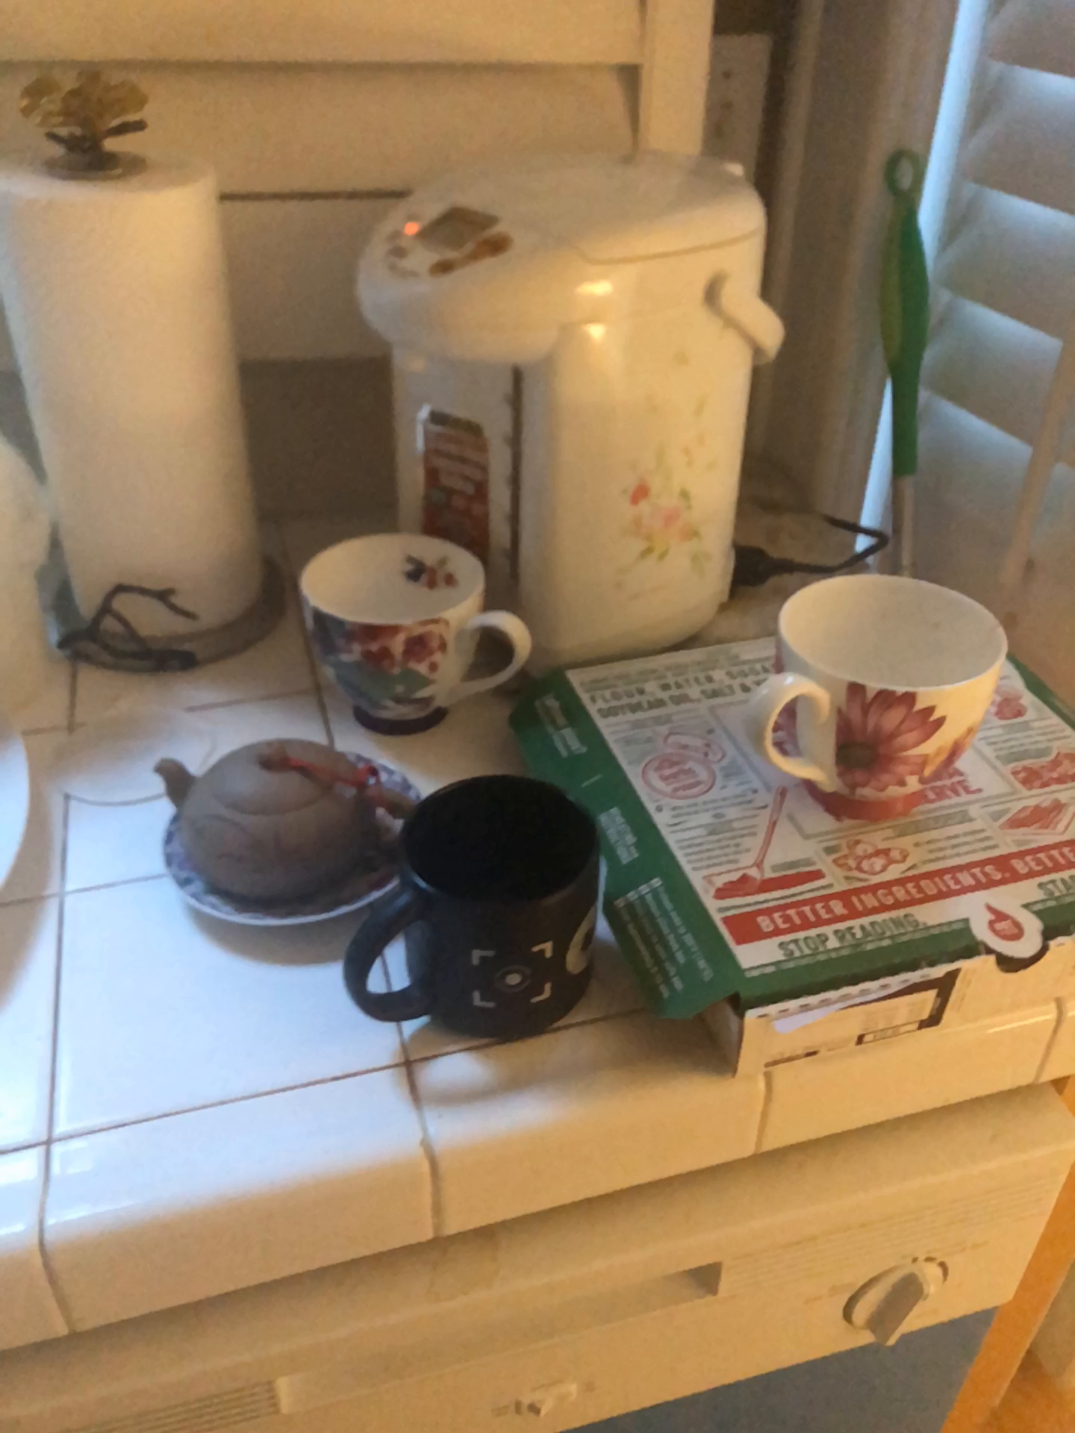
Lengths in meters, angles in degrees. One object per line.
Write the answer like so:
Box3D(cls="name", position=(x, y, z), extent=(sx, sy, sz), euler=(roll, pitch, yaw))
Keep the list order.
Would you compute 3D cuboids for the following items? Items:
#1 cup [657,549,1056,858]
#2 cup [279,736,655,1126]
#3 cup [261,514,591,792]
Box3D(cls="cup", position=(0.156, -0.013, 0.601), extent=(0.151, 0.069, 0.110), euler=(-19, 40, -26))
Box3D(cls="cup", position=(-0.032, 0.094, 0.559), extent=(0.141, 0.099, 0.090), euler=(-20, 41, -28))
Box3D(cls="cup", position=(-0.065, -0.044, 0.733), extent=(0.160, 0.089, 0.111), euler=(18, 39, 22))
